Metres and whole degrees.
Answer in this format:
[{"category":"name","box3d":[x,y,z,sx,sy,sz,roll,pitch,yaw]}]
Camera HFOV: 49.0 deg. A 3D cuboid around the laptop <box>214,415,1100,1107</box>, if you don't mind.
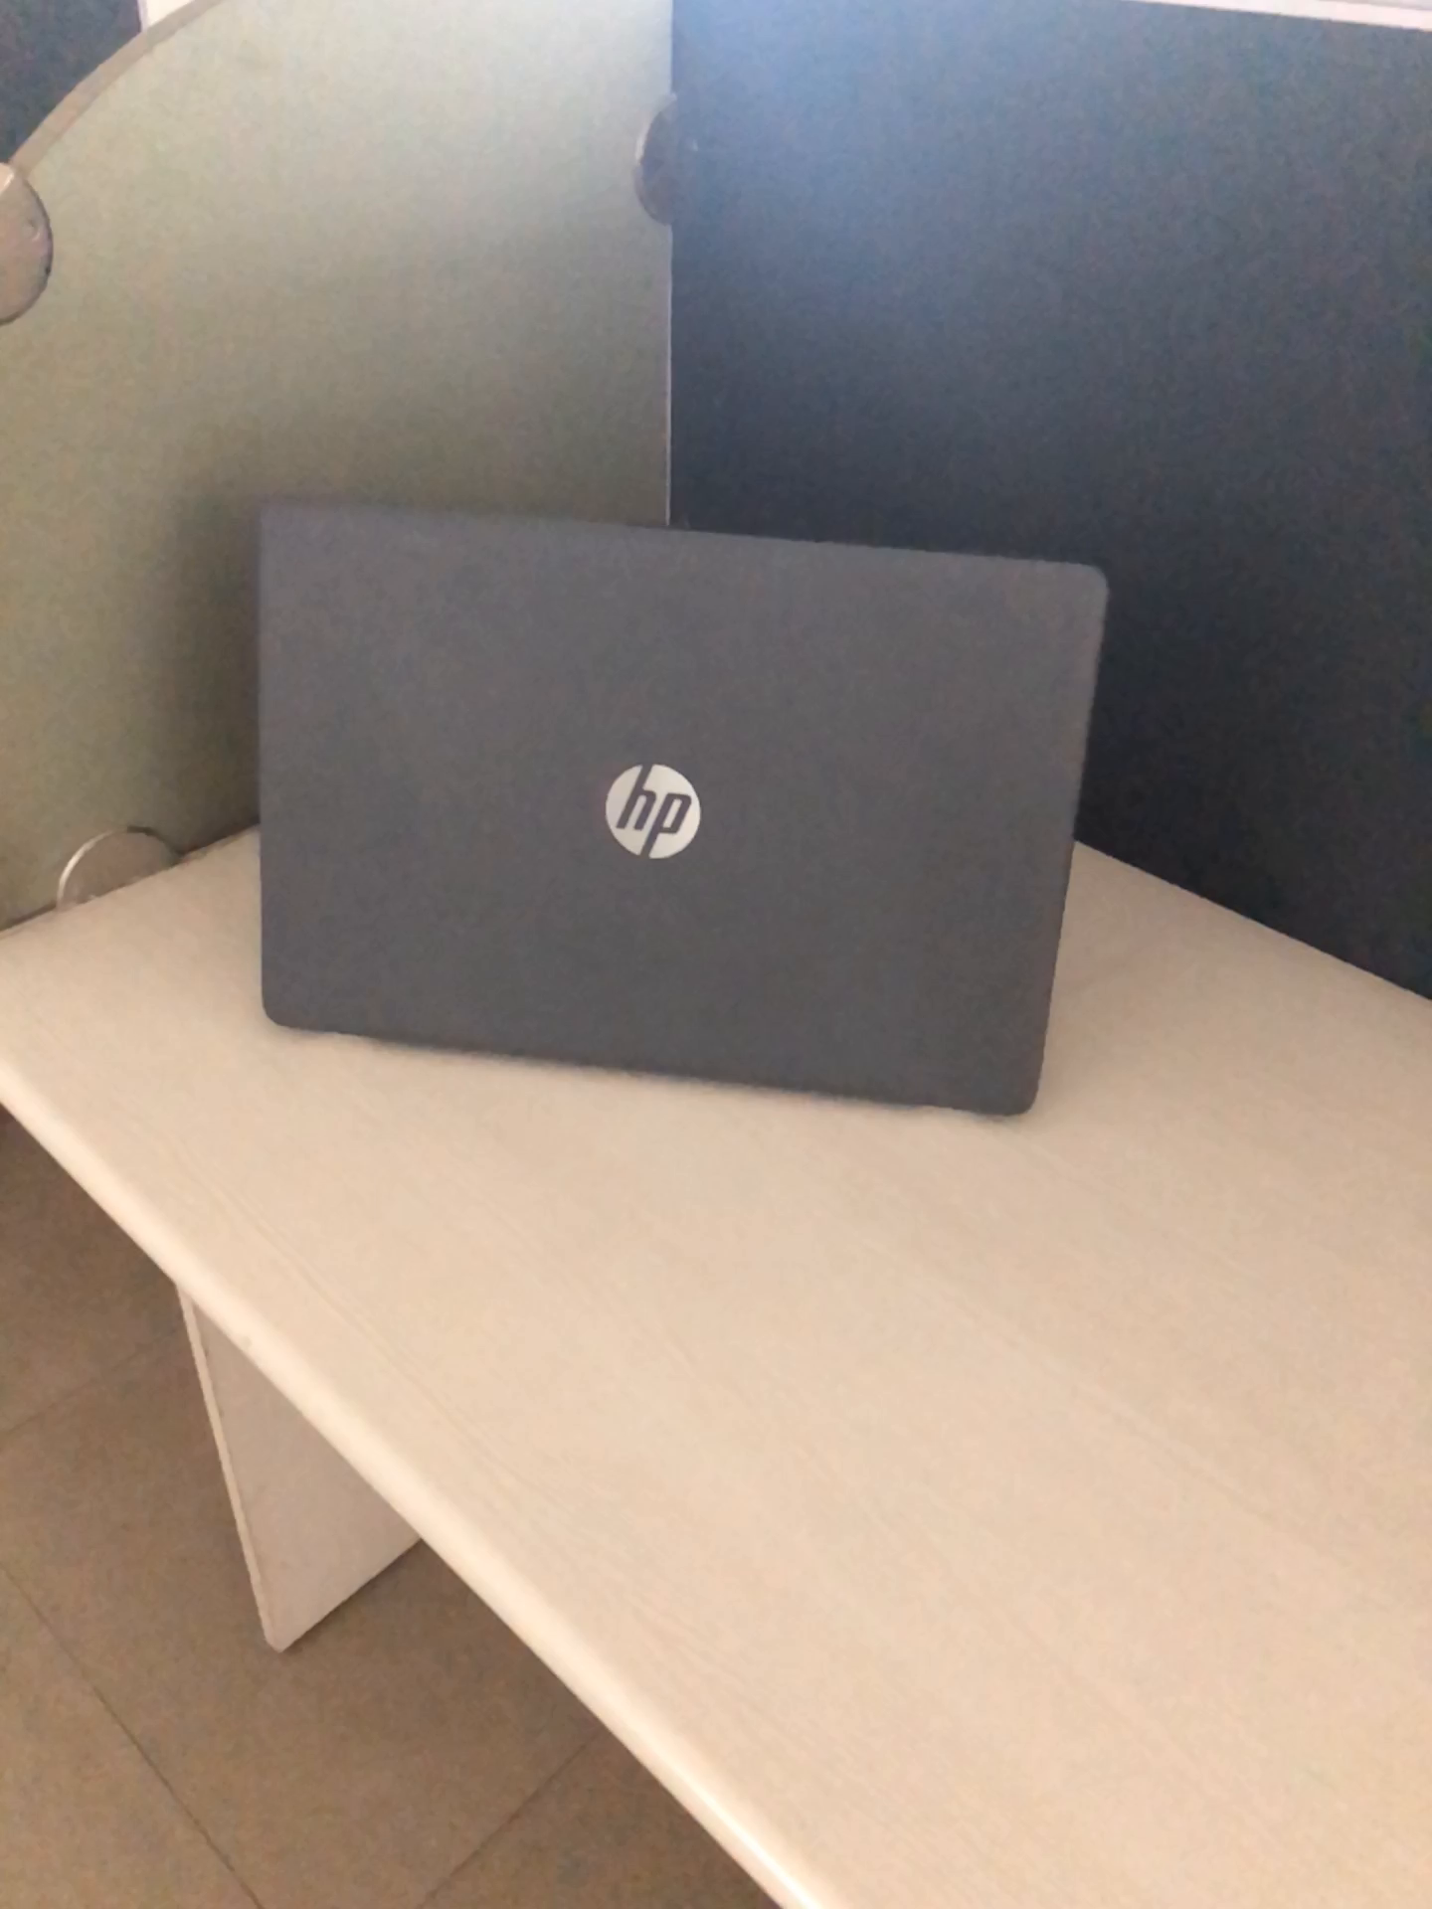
[{"category":"laptop","box3d":[-0.013,-0.109,0.779,0.359,0.215,0.239,6,37,8]}]
